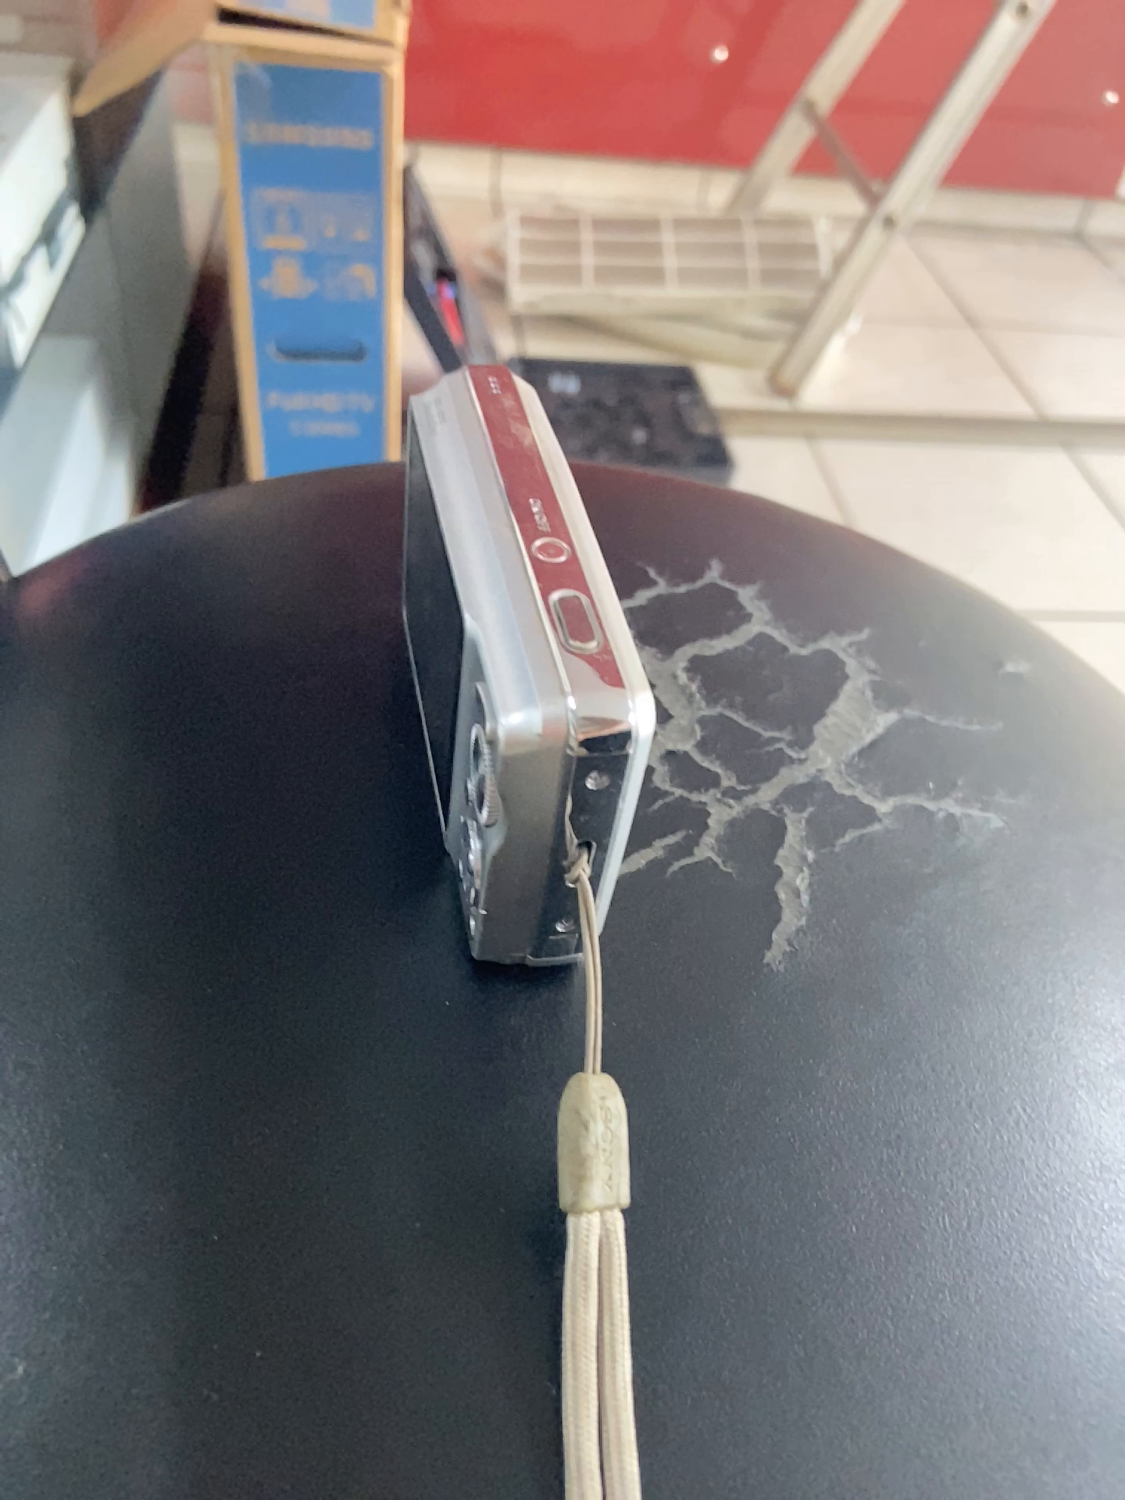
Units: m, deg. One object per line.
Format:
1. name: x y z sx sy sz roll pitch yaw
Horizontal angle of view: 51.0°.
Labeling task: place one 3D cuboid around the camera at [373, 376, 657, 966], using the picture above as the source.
1. camera: -0.013 -0.018 0.191 0.026 0.044 0.093 -4 45 -13
